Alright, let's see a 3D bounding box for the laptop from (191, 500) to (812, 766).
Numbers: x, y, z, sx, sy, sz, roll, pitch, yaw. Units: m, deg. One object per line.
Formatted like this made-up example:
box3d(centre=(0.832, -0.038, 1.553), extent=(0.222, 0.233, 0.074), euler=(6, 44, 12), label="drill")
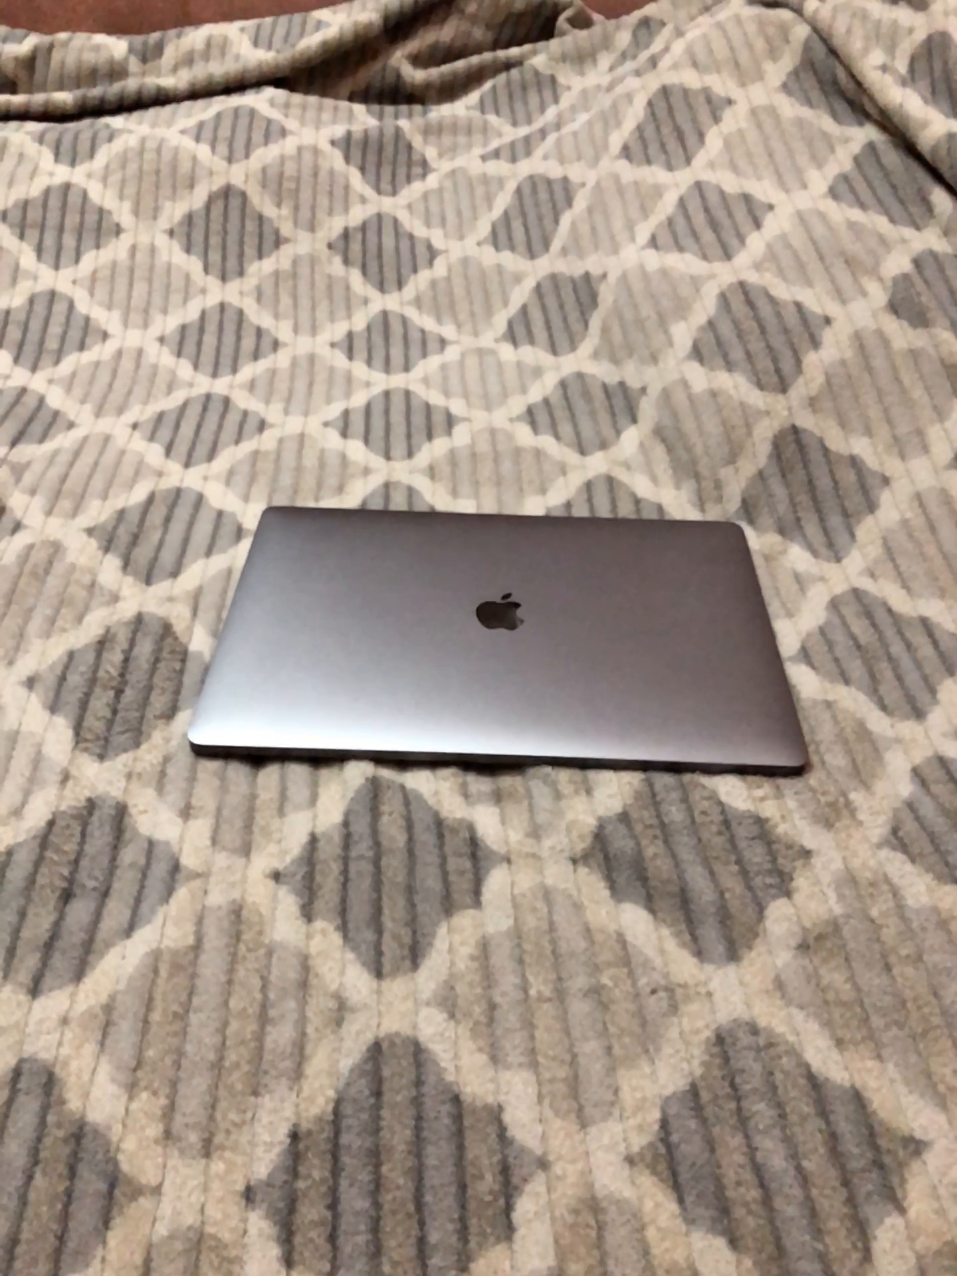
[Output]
box3d(centre=(0.015, -0.016, 0.704), extent=(0.358, 0.007, 0.247), euler=(2, 40, 1), label="laptop")
